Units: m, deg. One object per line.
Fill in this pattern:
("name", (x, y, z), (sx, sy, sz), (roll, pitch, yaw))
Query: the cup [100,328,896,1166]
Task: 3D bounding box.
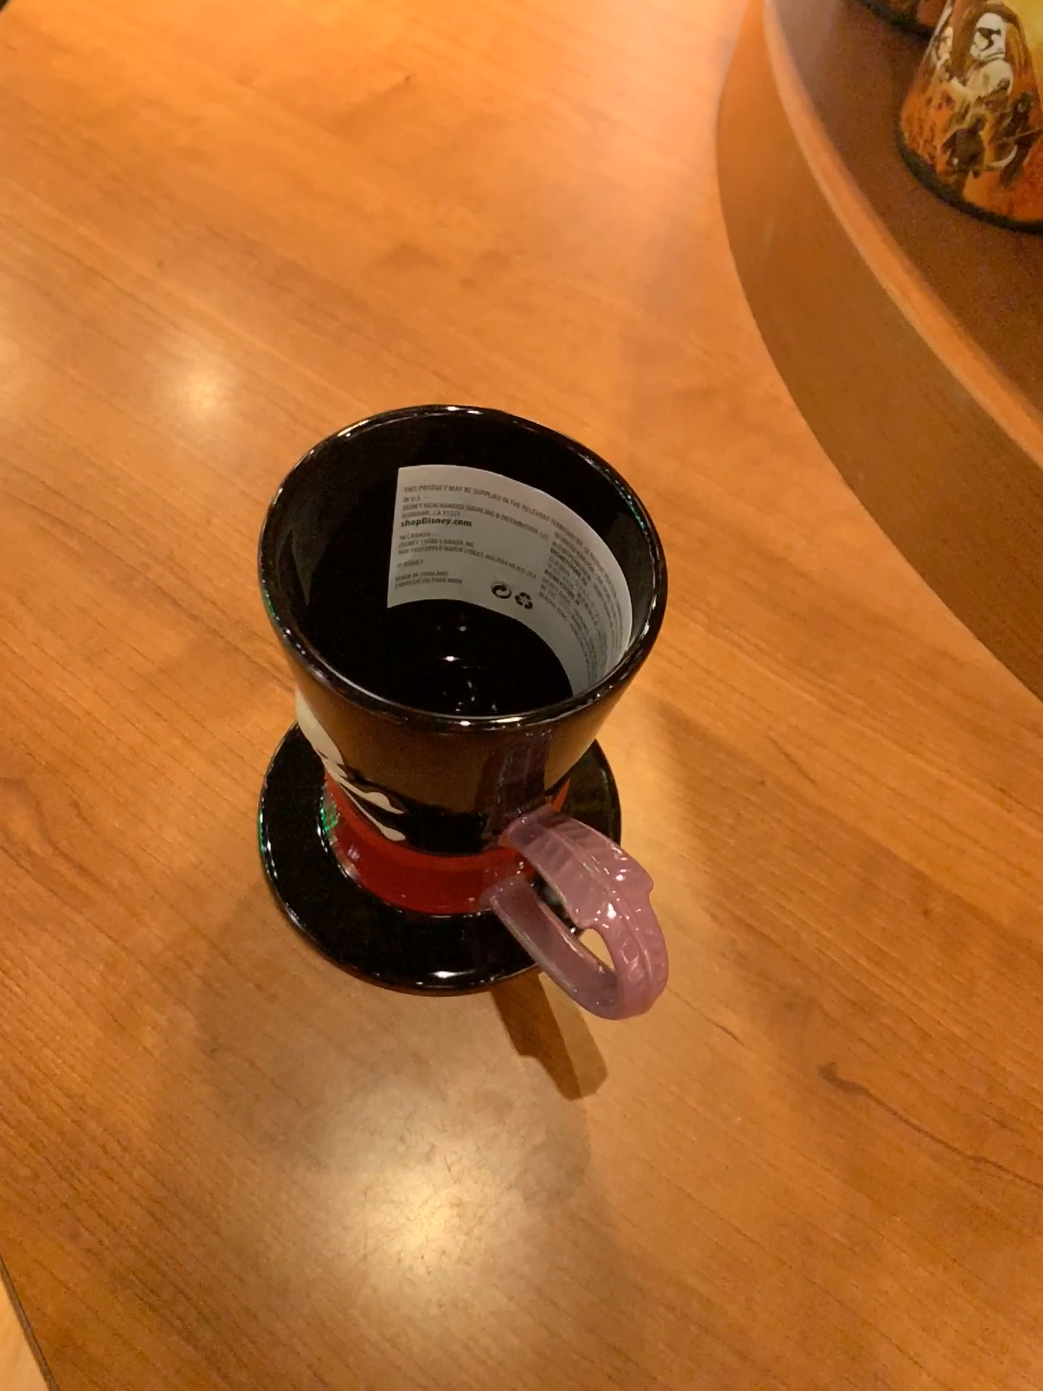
("cup", (-0.015, 0.020, 0.280), (0.110, 0.144, 0.134), (-25, 65, -20))
